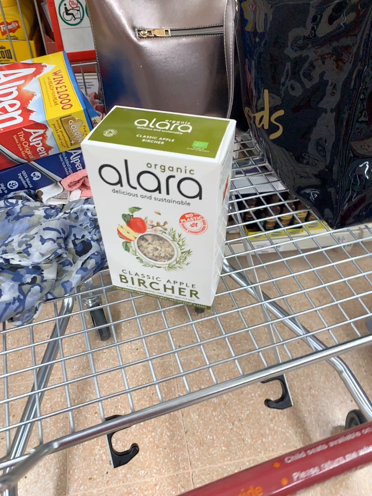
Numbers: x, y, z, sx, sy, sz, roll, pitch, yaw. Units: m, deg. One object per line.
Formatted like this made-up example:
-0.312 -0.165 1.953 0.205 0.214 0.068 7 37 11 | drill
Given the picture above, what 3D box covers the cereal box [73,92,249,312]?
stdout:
-0.017 -0.036 0.364 0.120 0.178 0.081 11 47 10 | cereal box
